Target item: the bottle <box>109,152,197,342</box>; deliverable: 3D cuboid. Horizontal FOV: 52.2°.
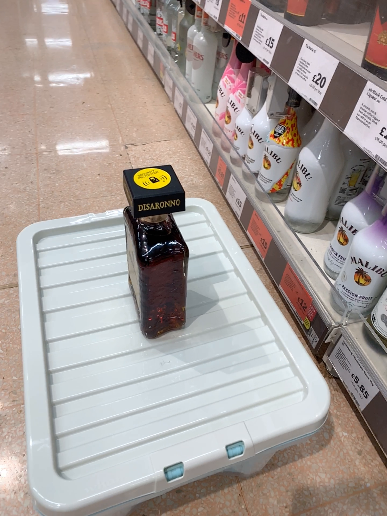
[{"bbox_3d":[-0.052,-0.008,0.496,0.070,0.208,0.111,-10,46,-15],"label":"bottle"}]
